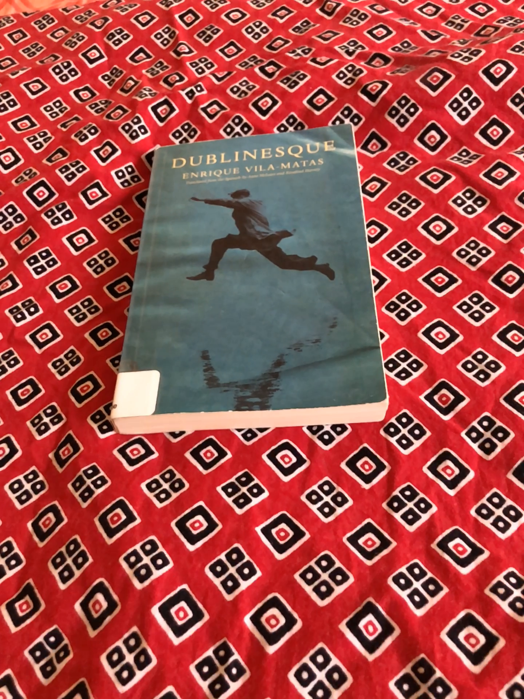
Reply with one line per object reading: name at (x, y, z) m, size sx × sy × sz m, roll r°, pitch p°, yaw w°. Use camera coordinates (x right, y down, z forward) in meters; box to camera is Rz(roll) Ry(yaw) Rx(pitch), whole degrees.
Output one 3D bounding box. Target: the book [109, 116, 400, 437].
book at (-0.004, -0.052, 0.333) m, size 0.137 × 0.020 × 0.203 m, roll -4°, pitch 58°, yaw 7°
